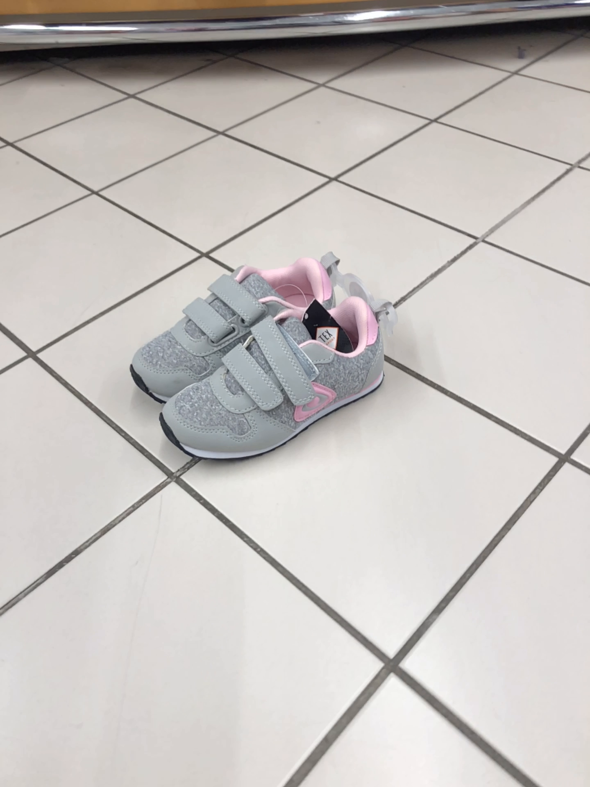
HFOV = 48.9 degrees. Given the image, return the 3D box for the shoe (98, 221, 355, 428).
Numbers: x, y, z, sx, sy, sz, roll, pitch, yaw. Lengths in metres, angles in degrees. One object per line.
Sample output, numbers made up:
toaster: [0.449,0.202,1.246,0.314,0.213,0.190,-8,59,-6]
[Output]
shoe: [-0.049,-0.060,0.520,0.181,0.070,0.080,-27,50,-21]

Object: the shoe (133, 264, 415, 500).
shoe: [-0.011,-0.013,0.479,0.181,0.080,0.080,-25,49,-19]
